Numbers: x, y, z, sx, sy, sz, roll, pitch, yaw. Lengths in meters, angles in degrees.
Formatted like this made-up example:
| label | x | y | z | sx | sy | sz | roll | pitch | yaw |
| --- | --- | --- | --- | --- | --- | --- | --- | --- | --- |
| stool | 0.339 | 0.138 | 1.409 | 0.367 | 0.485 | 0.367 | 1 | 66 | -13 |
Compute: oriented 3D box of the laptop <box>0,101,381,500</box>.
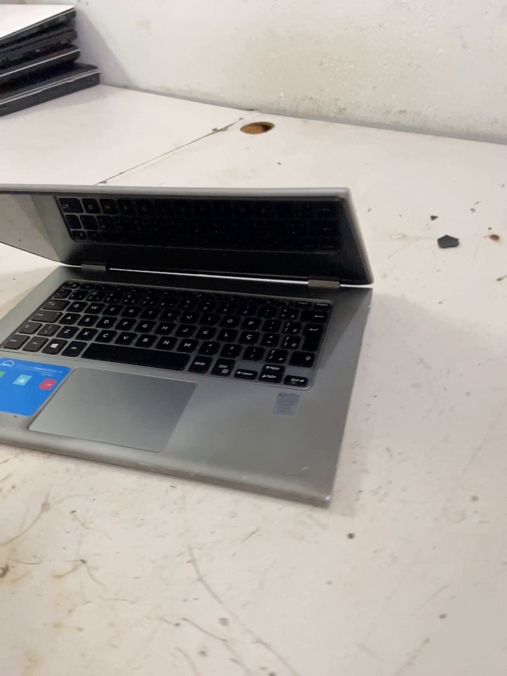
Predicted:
| label | x | y | z | sx | sy | sz | roll | pitch | yaw |
| --- | --- | --- | --- | --- | --- | --- | --- | --- | --- |
| laptop | -0.091 | -0.050 | 0.376 | 0.326 | 0.154 | 0.219 | 5 | 40 | 17 |
